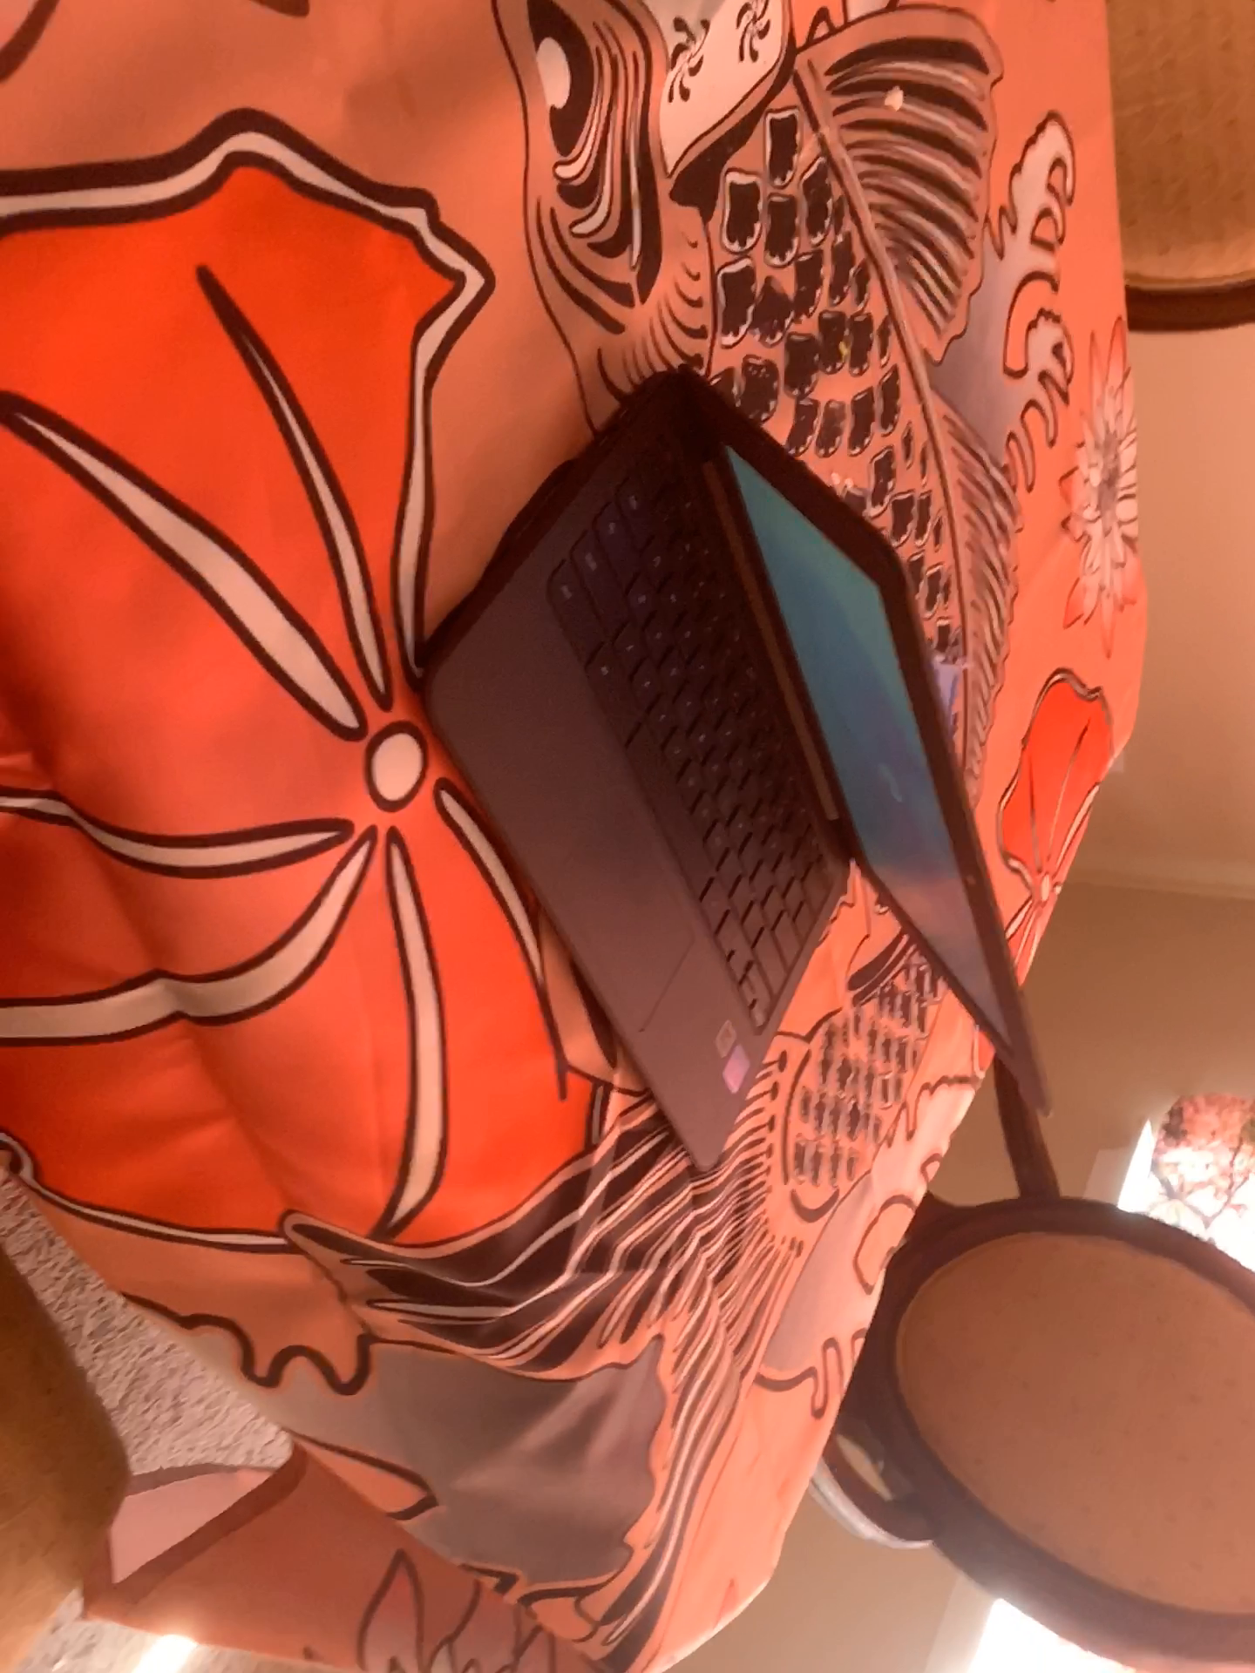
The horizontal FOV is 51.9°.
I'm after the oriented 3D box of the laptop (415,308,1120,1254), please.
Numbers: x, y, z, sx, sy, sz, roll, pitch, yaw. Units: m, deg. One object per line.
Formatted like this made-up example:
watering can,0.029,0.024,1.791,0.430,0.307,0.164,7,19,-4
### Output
laptop,0.089,-0.014,0.529,0.212,0.144,0.300,-60,139,-34
